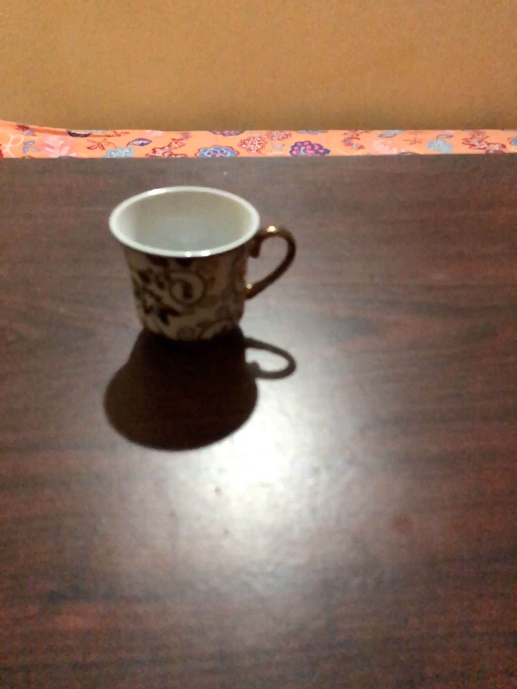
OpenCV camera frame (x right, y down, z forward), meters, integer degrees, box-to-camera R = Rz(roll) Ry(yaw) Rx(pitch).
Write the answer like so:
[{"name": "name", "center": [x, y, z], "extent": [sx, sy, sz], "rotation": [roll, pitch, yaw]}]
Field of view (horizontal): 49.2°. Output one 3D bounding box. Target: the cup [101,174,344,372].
[{"name": "cup", "center": [-0.019, -0.035, 0.249], "extent": [0.090, 0.050, 0.070], "rotation": [-7, 39, -10]}]
